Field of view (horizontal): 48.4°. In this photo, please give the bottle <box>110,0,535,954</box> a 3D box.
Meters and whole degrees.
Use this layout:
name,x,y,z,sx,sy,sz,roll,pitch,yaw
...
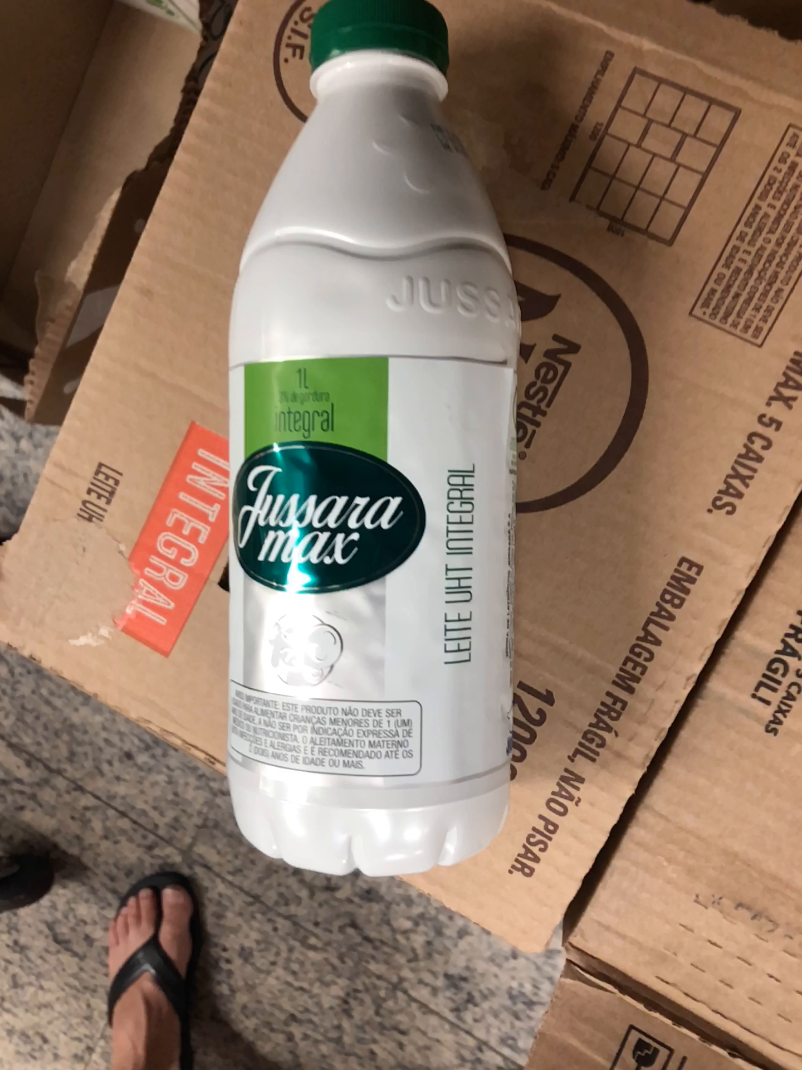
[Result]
name,x,y,z,sx,sy,sz,roll,pitch,yaw
bottle,-0.015,-0.022,0.239,0.090,0.060,0.240,2,99,15
